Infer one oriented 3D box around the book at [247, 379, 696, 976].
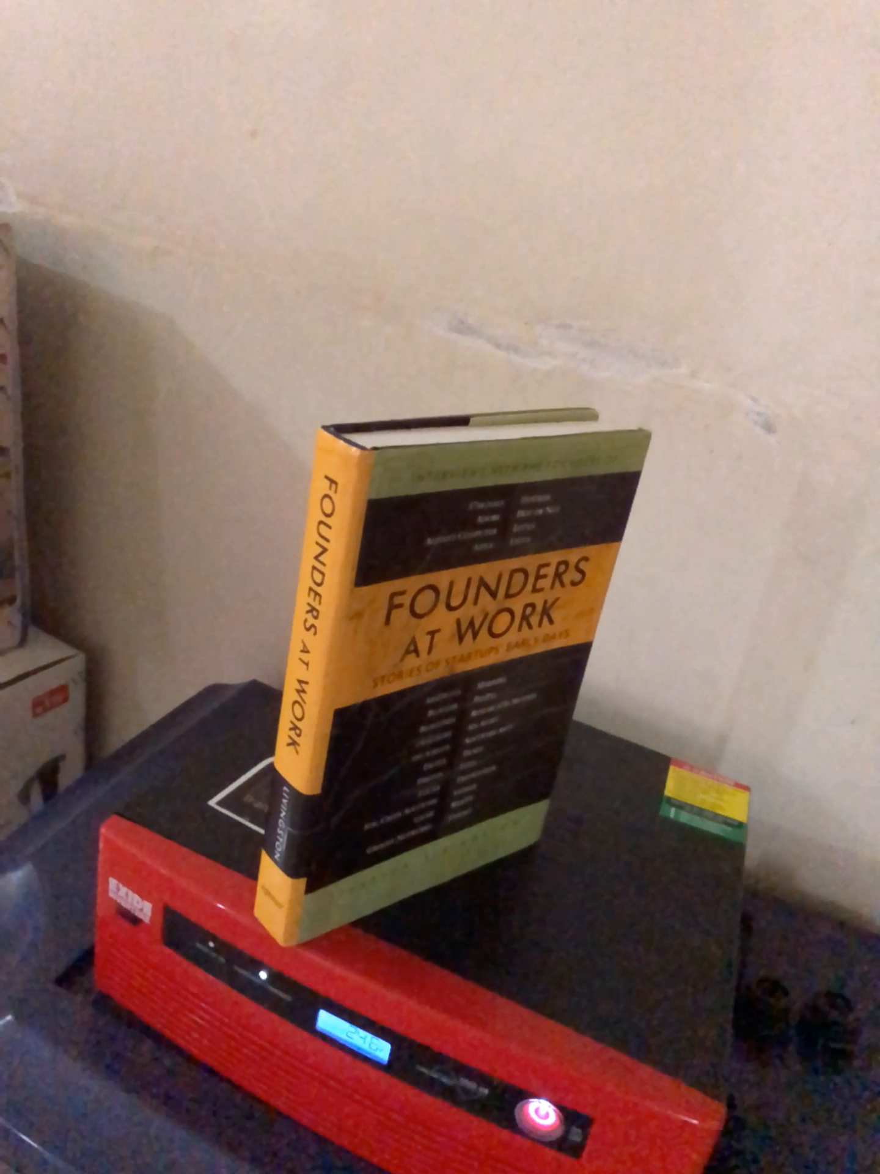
[{"bbox_3d":[0.011,0.037,0.443,0.180,0.249,0.040,-12,33,-37],"label":"book"}]
